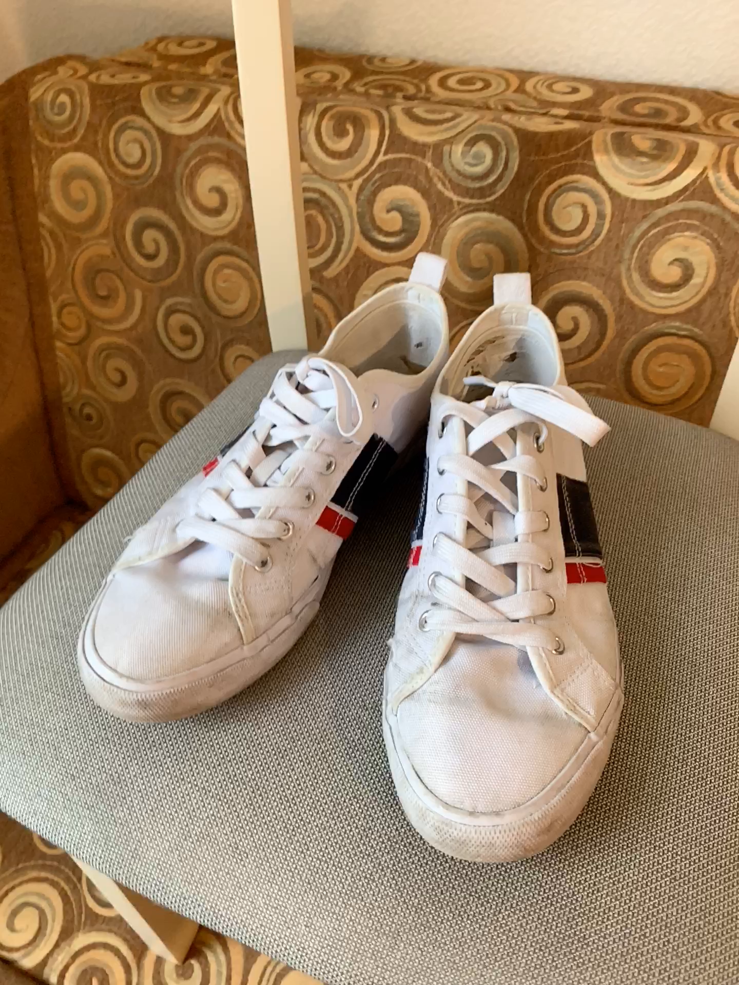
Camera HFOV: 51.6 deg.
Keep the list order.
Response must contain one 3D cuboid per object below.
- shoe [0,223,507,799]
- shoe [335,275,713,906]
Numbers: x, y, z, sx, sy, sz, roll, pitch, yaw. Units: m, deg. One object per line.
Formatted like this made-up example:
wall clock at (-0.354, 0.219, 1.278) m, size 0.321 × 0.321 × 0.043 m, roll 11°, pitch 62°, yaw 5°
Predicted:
shoe at (-0.051, -0.013, 0.390) m, size 0.120 × 0.090 × 0.281 m, roll 25°, pitch 56°, yaw 23°
shoe at (0.062, 0.021, 0.346) m, size 0.110 × 0.090 × 0.271 m, roll 3°, pitch 51°, yaw 7°
